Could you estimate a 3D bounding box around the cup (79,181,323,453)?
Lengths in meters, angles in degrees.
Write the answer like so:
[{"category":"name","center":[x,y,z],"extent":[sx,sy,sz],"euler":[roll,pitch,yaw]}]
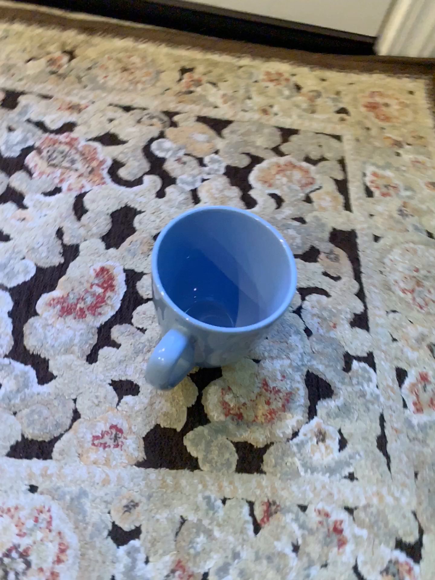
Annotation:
[{"category":"cup","center":[-0.008,0.018,0.286],"extent":[0.090,0.089,0.121],"euler":[27,59,7]}]
